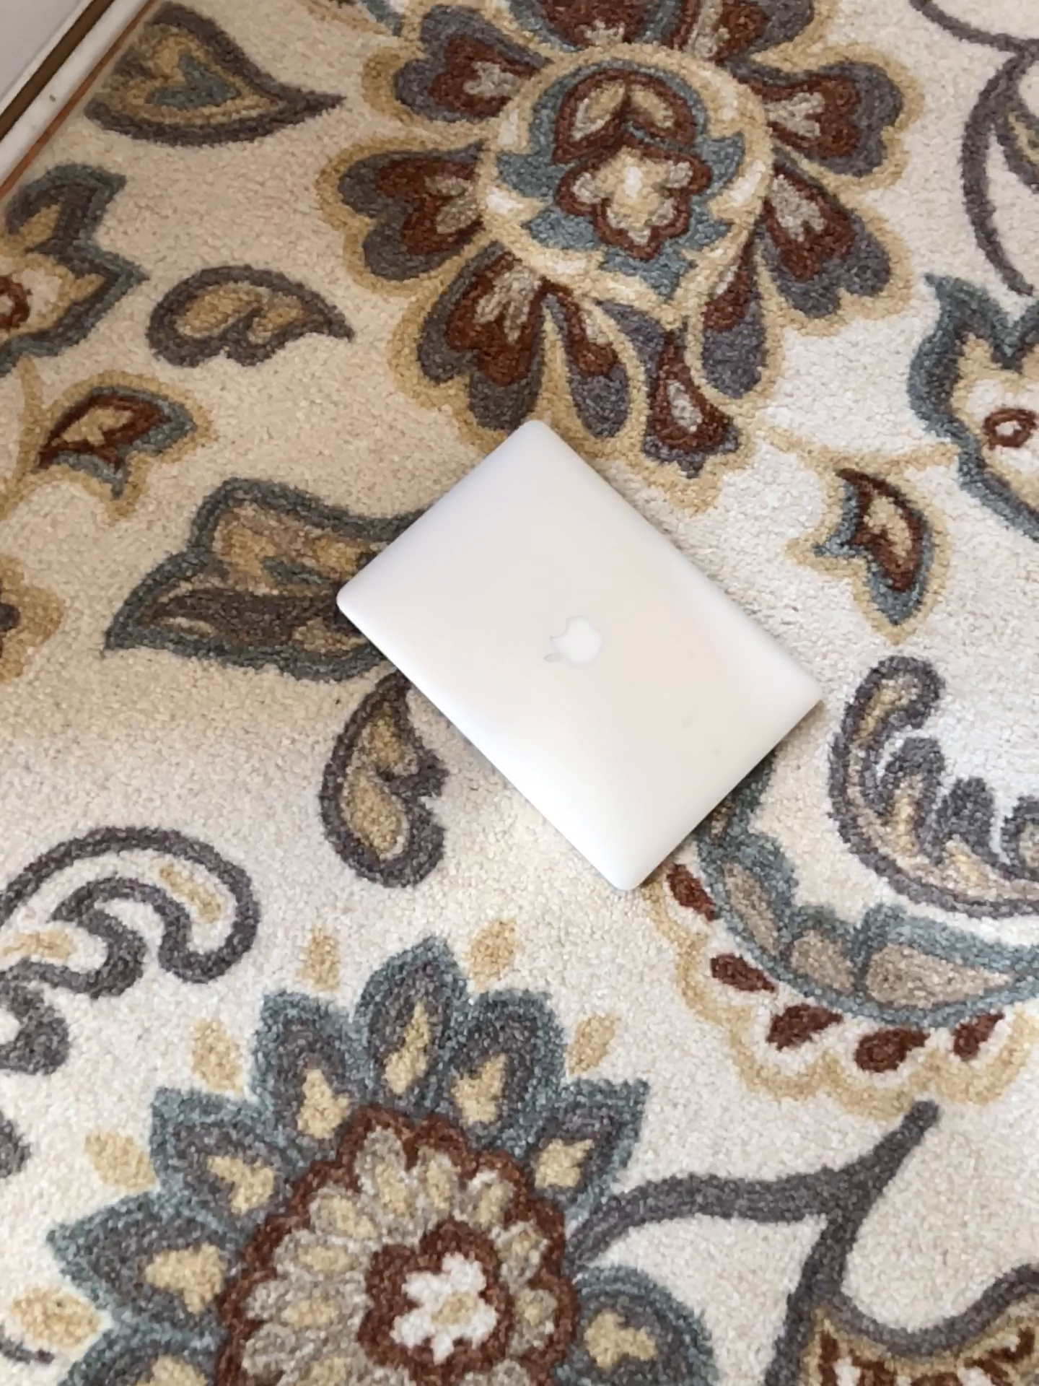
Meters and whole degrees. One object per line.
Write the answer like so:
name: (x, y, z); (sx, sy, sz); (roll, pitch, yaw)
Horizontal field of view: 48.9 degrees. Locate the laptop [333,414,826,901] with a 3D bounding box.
laptop: (0.043, -0.033, 0.816); (0.207, 0.001, 0.295); (-44, 83, -11)
